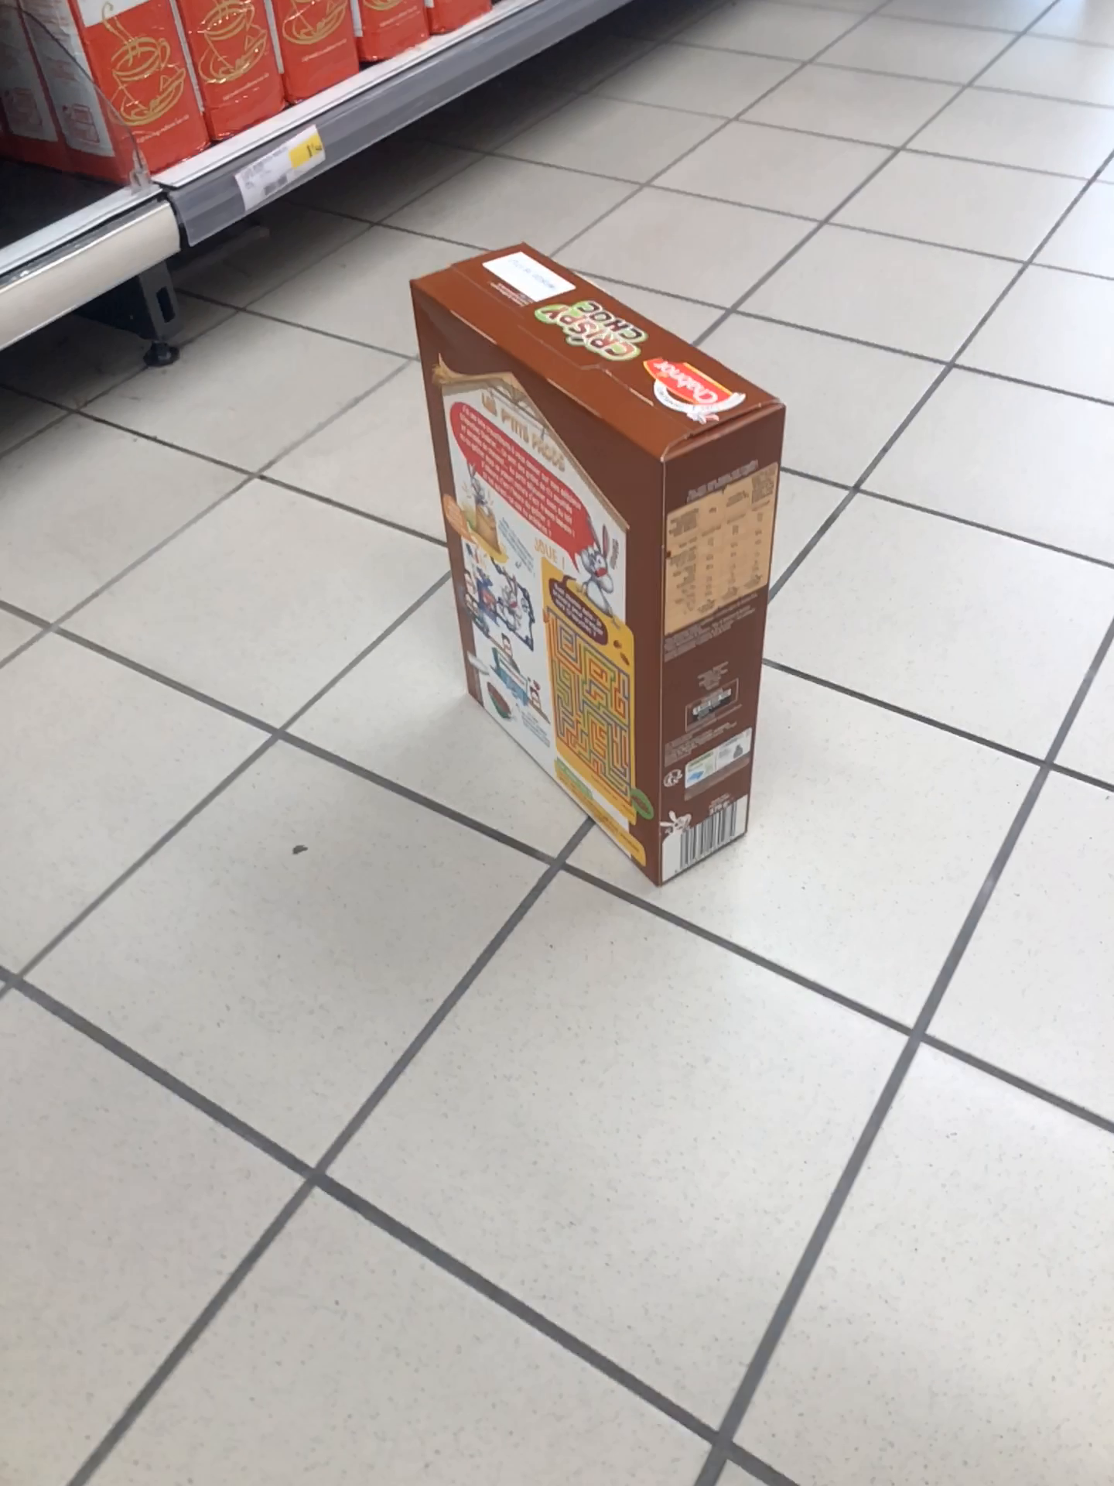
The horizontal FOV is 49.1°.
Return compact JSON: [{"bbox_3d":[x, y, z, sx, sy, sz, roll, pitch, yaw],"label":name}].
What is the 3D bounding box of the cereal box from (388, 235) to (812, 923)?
[{"bbox_3d":[0.016,-0.077,0.610,0.070,0.268,0.211,-27,50,-22],"label":"cereal box"}]
